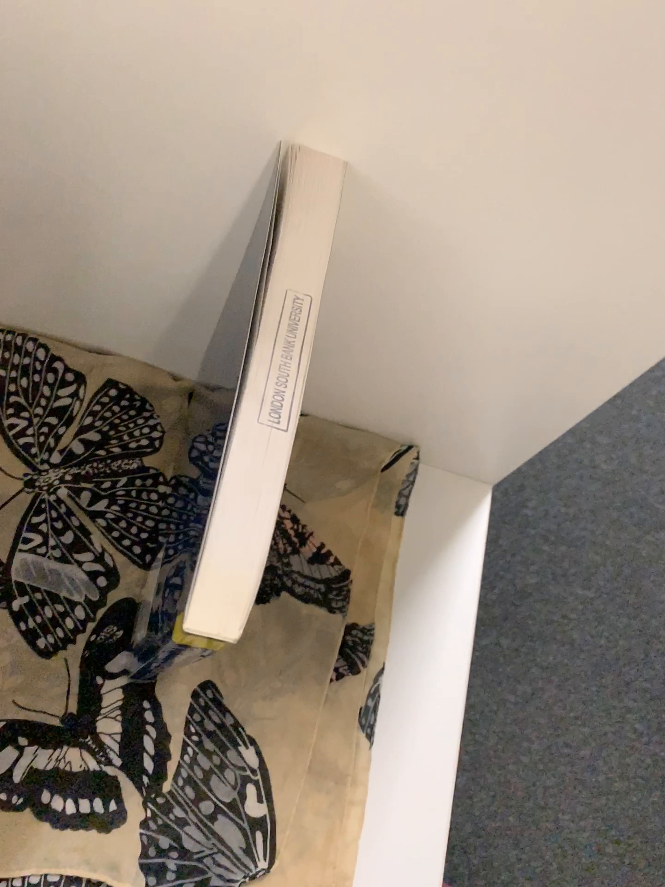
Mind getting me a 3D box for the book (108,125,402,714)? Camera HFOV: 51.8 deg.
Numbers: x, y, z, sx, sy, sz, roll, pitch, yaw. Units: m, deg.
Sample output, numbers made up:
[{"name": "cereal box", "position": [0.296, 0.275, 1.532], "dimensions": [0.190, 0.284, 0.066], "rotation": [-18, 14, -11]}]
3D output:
[{"name": "book", "position": [-0.052, 0.018, 0.352], "dimensions": [0.052, 0.250, 0.220], "rotation": [16, 65, -14]}]
